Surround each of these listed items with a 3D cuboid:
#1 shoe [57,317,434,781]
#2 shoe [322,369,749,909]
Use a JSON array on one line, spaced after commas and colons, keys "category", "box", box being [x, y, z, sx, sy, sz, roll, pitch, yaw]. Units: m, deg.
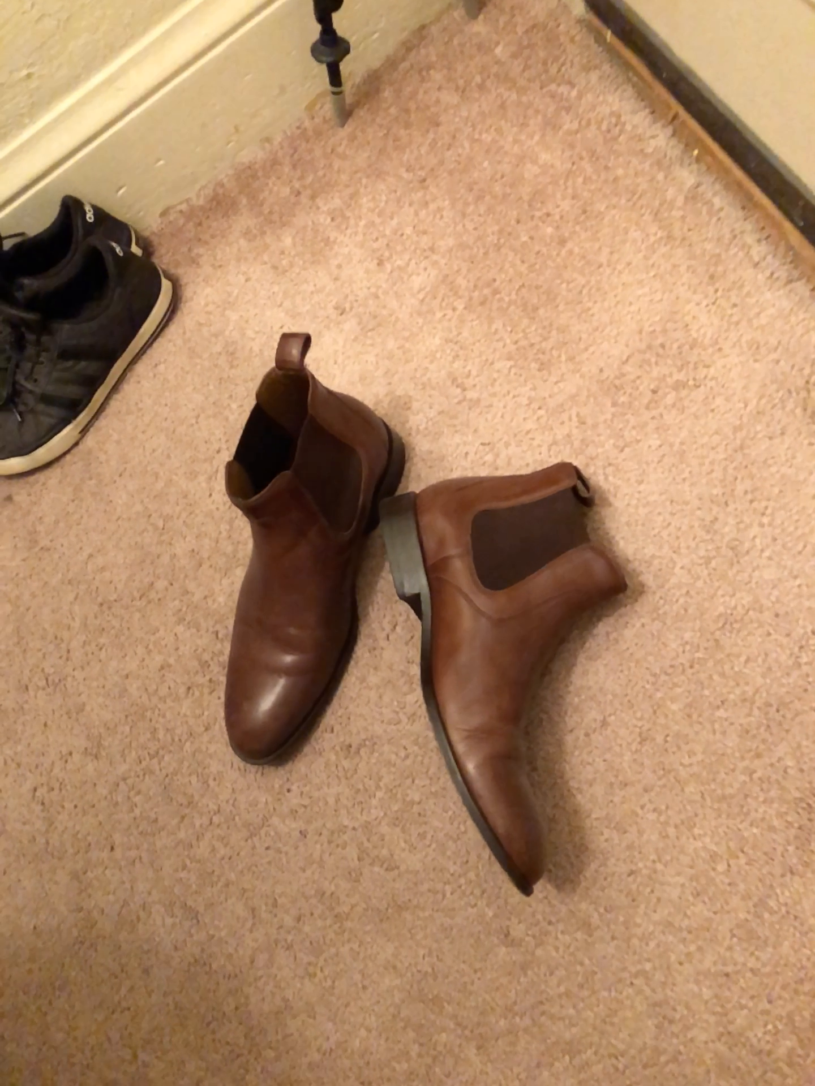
[{"category": "shoe", "box": [-0.106, 0.010, 0.668, 0.109, 0.159, 0.296, 16, 79, 27]}, {"category": "shoe", "box": [0.081, 0.064, 0.608, 0.169, 0.119, 0.297, -25, 66, 12]}]
